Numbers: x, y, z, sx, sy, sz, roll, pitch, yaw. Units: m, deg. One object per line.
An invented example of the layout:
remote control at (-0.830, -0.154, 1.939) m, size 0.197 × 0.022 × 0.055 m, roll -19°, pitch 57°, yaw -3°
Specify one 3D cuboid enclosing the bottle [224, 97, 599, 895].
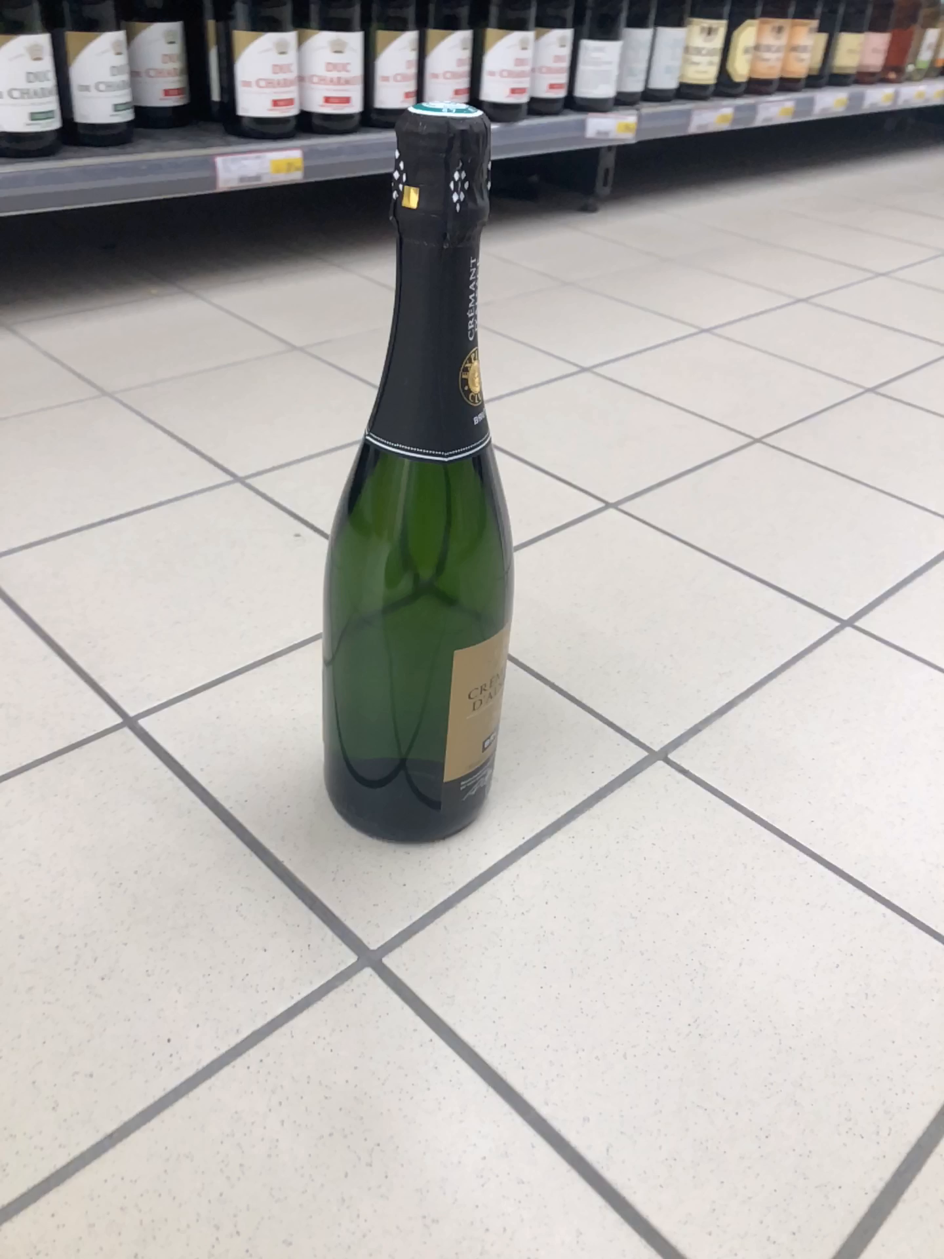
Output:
bottle at (-0.028, -0.045, 0.441) m, size 0.090 × 0.308 × 0.101 m, roll 19°, pitch 36°, yaw 21°
